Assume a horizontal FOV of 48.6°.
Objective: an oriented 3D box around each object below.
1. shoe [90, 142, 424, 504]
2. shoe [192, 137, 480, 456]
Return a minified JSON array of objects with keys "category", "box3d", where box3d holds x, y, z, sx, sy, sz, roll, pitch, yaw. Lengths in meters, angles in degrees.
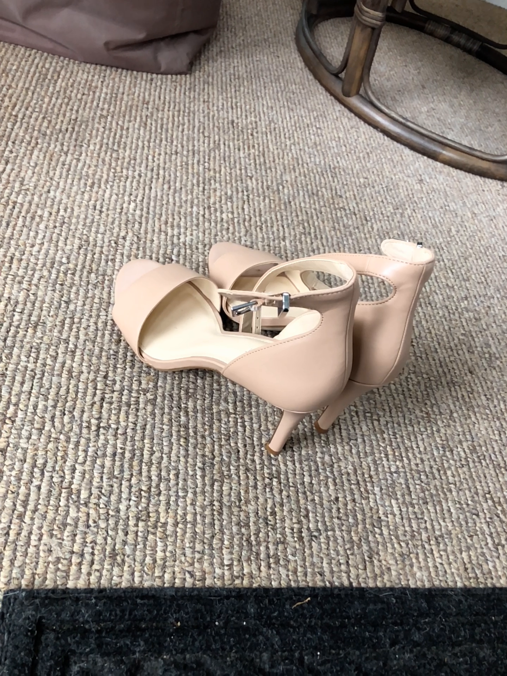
[{"category":"shoe","box3d":[-0.014,-0.017,0.417,0.106,0.144,0.206,-23,63,-38]},{"category":"shoe","box3d":[0.050,-0.040,0.475,0.100,0.154,0.207,-9,55,-31]}]
